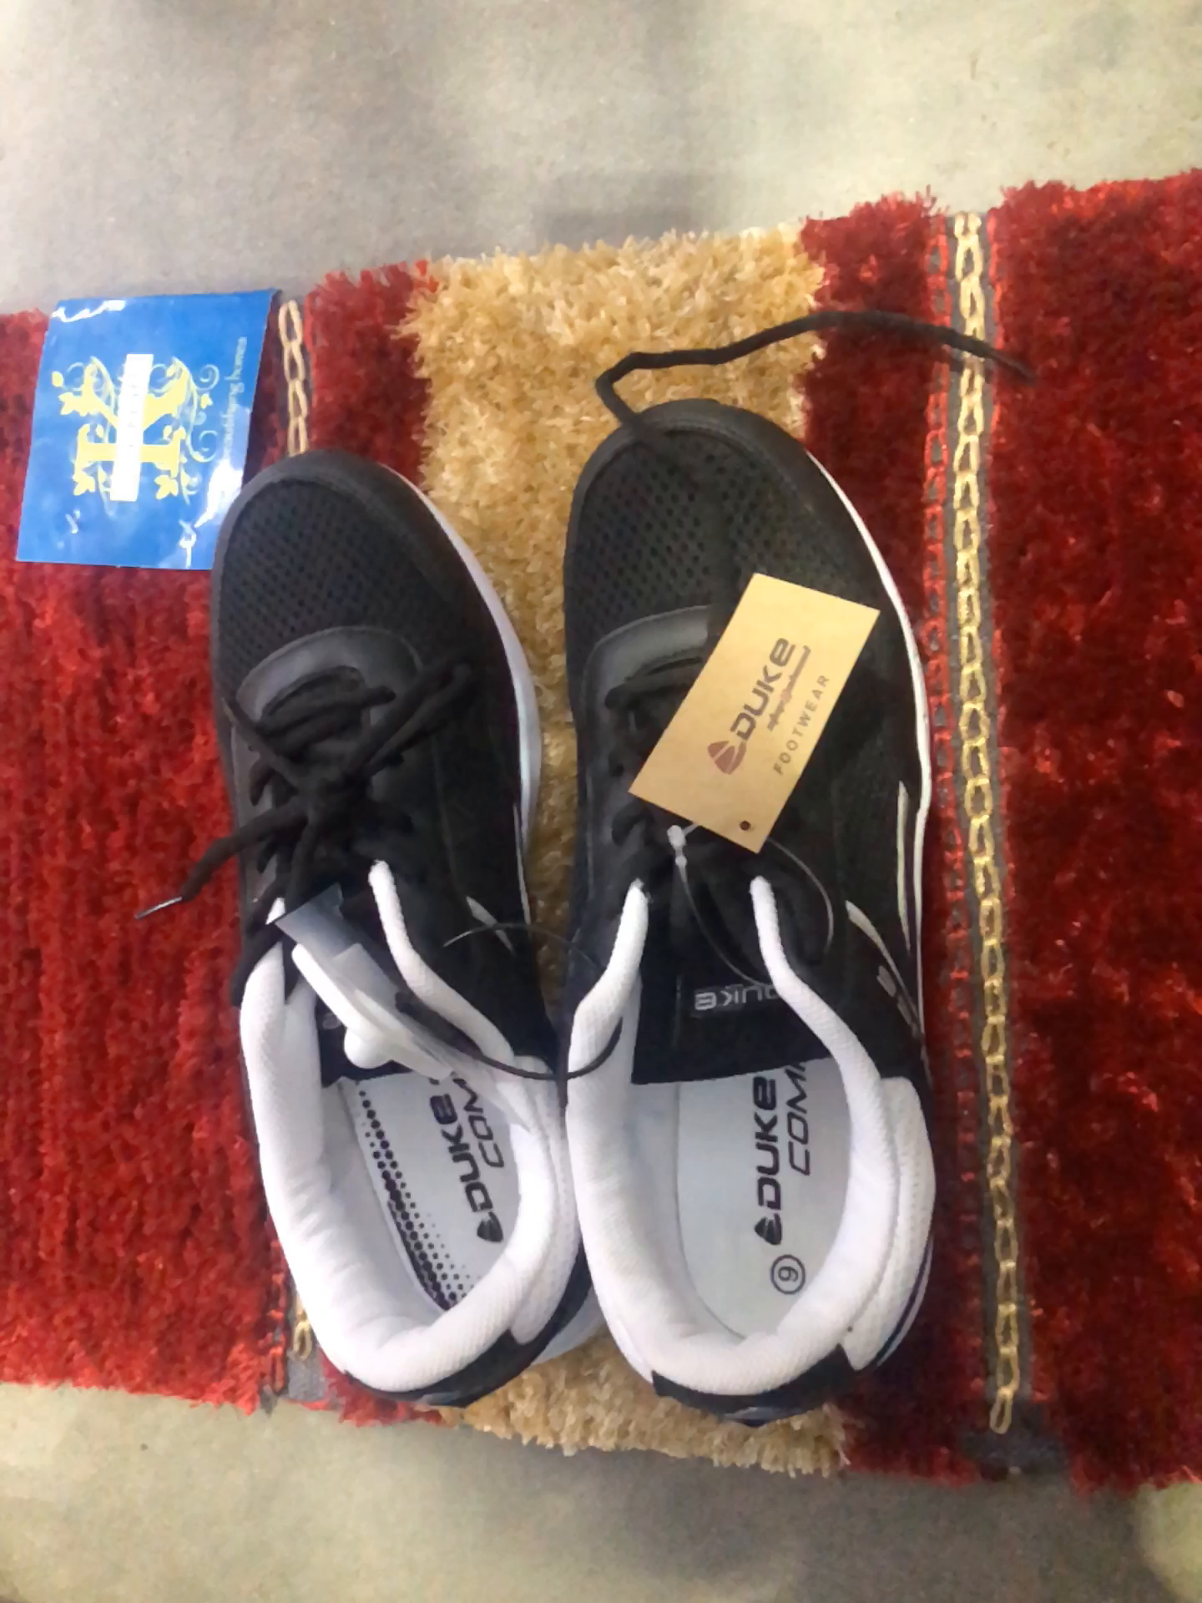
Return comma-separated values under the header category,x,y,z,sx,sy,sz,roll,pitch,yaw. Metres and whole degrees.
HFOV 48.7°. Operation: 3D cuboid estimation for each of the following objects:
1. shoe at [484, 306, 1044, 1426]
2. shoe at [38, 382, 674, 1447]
category,x,y,z,sx,sy,sz,roll,pitch,yaw
shoe,0.041,0.017,0.343,0.110,0.070,0.250,-5,85,13
shoe,-0.064,0.028,0.356,0.100,0.070,0.240,-15,83,12
